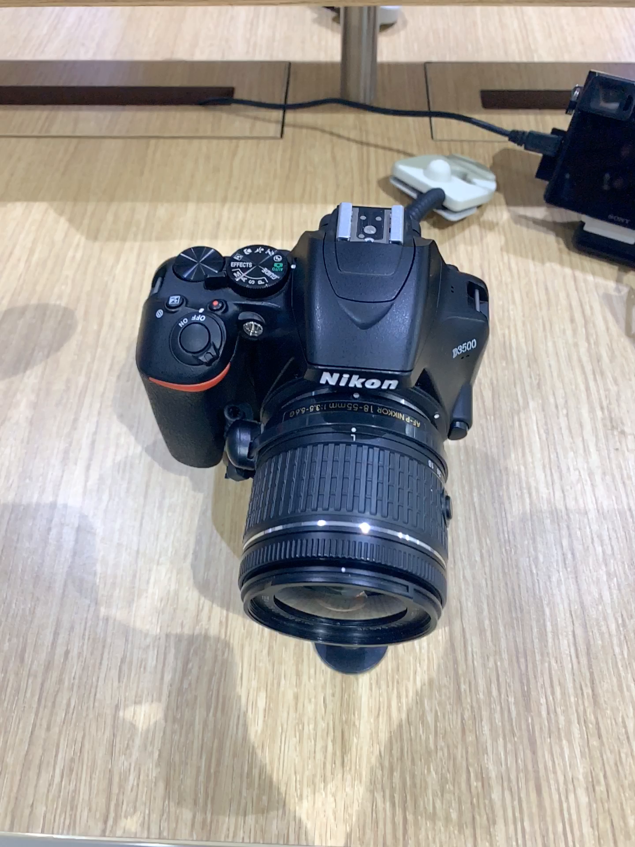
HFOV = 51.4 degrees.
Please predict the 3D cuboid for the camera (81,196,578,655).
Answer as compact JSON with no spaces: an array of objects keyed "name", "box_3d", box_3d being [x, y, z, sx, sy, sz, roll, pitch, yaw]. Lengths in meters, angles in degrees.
[{"name":"camera","box_3d":[0.005,0.003,0.202,0.102,0.091,0.104,2,57,3]}]
